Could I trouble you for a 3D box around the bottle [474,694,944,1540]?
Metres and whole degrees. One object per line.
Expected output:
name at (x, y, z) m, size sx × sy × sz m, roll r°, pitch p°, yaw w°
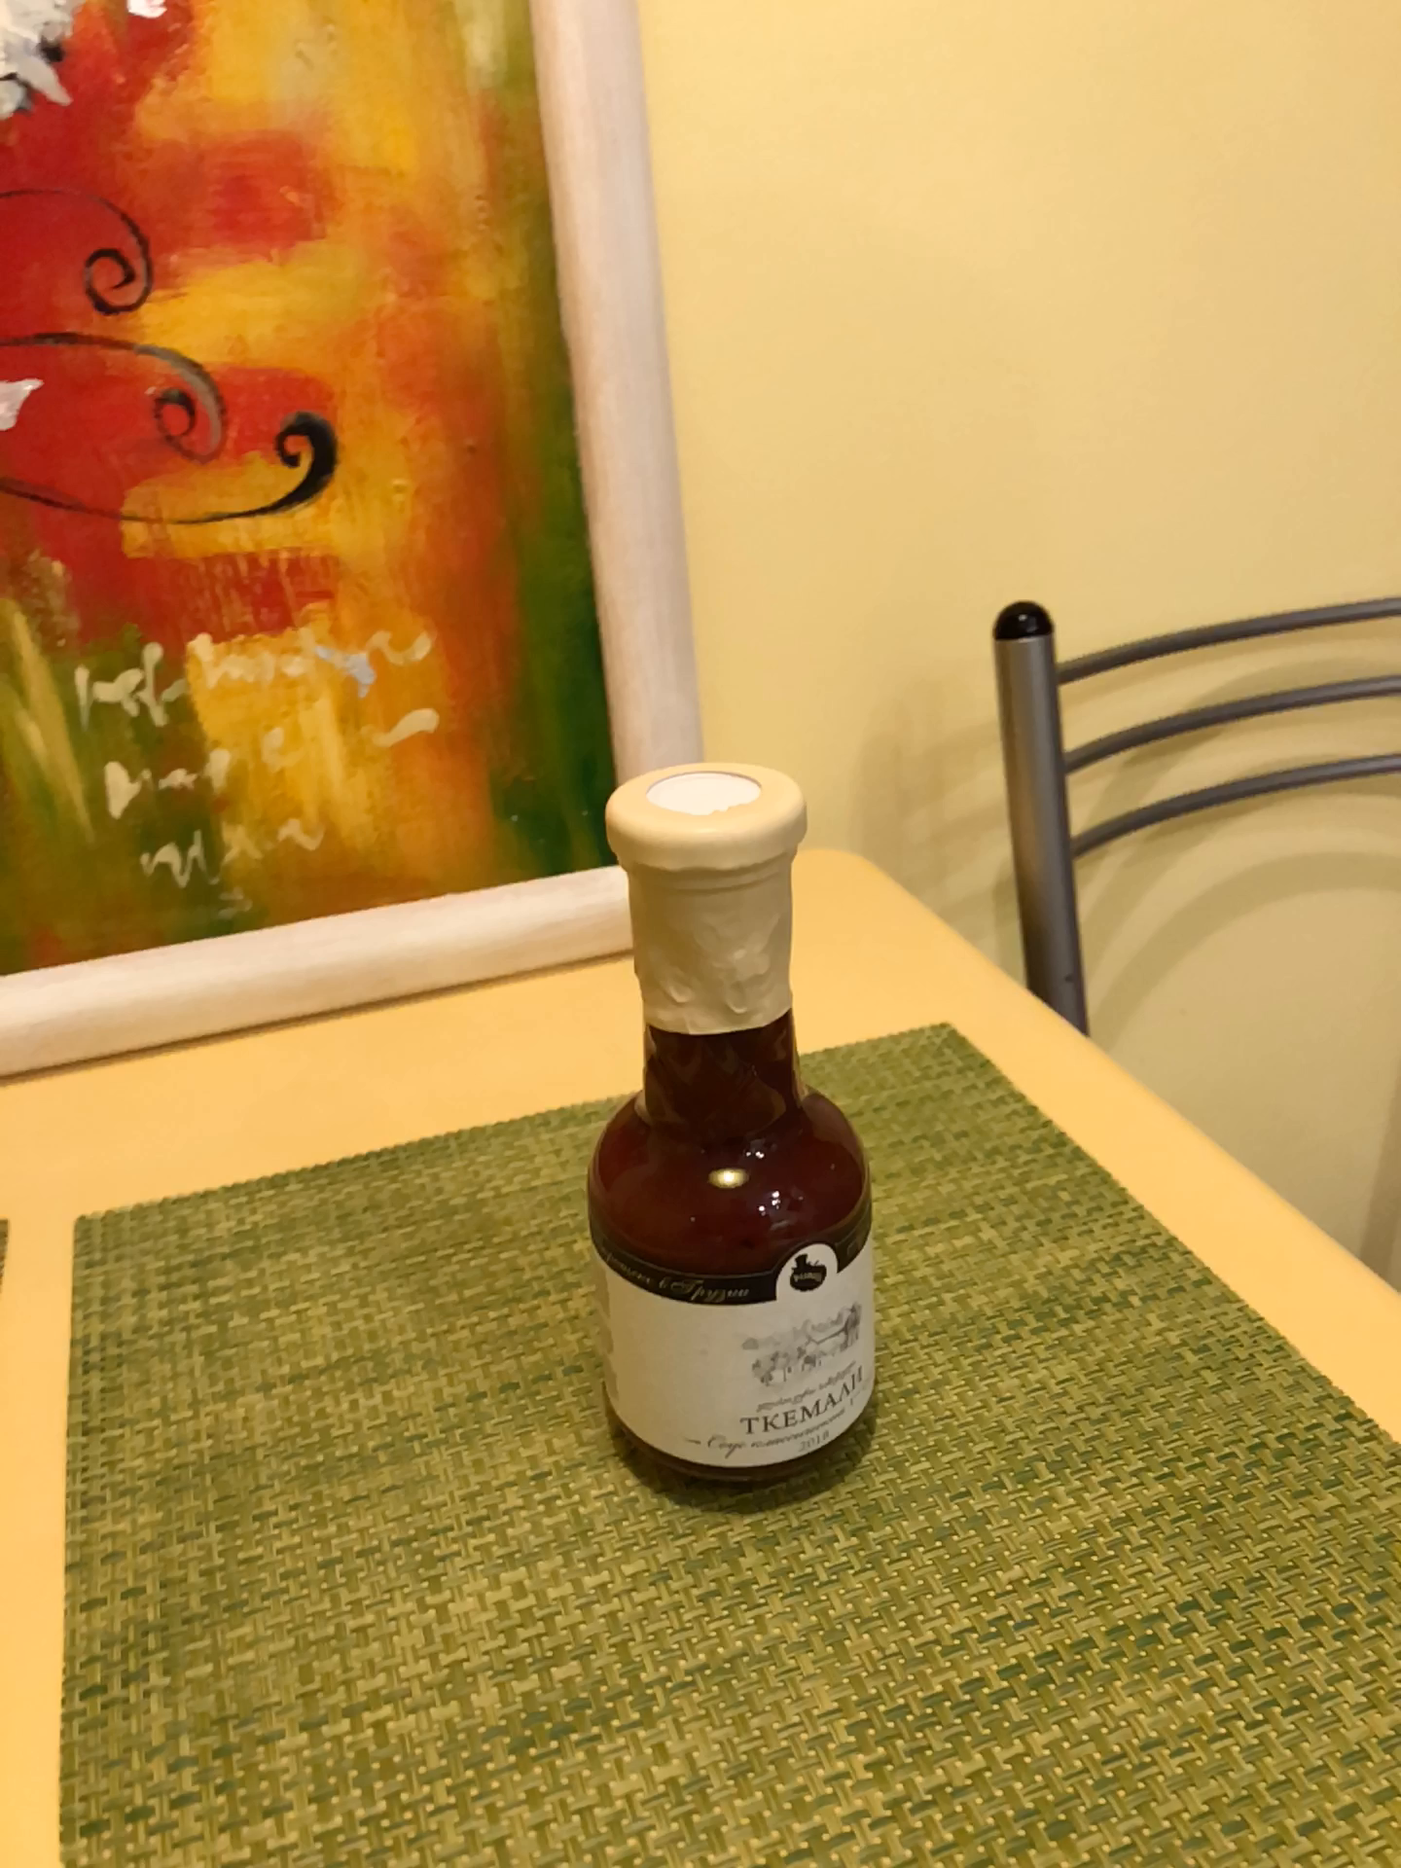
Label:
bottle at (0.003, 0.038, 0.345) m, size 0.070 × 0.159 × 0.070 m, roll -2°, pitch 25°, yaw 1°
